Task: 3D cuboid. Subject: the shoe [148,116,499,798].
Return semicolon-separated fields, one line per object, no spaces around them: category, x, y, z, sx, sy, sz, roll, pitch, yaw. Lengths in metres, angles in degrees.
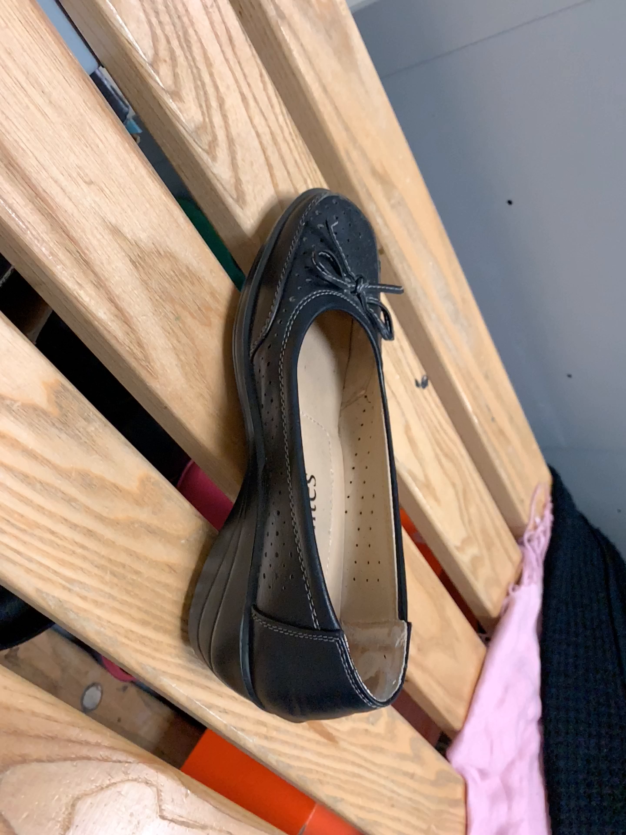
shoe;0.014;0.012;0.319;0.087;0.109;0.273;25;68;-48
